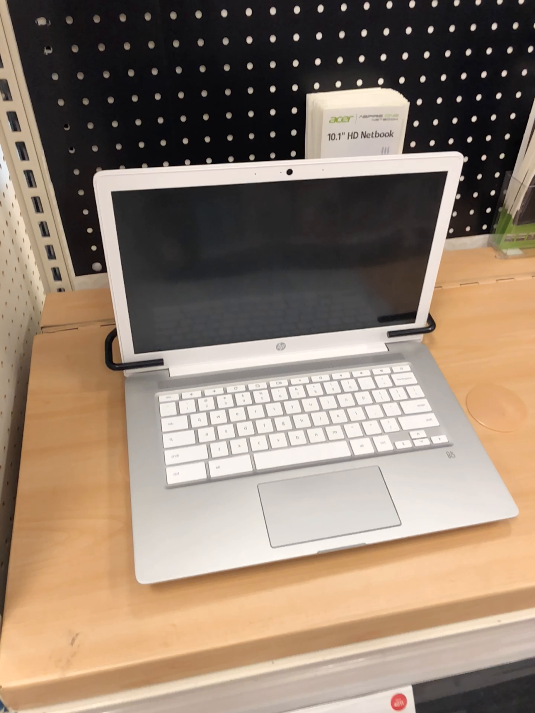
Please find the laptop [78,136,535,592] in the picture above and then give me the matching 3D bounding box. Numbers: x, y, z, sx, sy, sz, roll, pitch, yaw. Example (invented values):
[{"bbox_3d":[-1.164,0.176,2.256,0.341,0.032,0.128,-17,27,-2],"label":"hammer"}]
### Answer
[{"bbox_3d":[0.026,-0.018,0.518,0.333,0.198,0.281,-8,45,-11],"label":"laptop"}]
